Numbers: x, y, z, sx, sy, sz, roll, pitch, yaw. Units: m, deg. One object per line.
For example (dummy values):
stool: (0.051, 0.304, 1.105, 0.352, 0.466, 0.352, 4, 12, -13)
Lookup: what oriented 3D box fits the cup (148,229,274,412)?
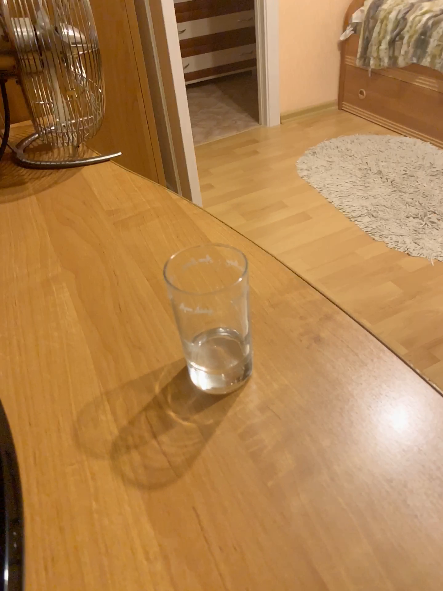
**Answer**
cup: (-0.005, 0.018, 0.318, 0.060, 0.098, 0.061, -4, 40, 4)
